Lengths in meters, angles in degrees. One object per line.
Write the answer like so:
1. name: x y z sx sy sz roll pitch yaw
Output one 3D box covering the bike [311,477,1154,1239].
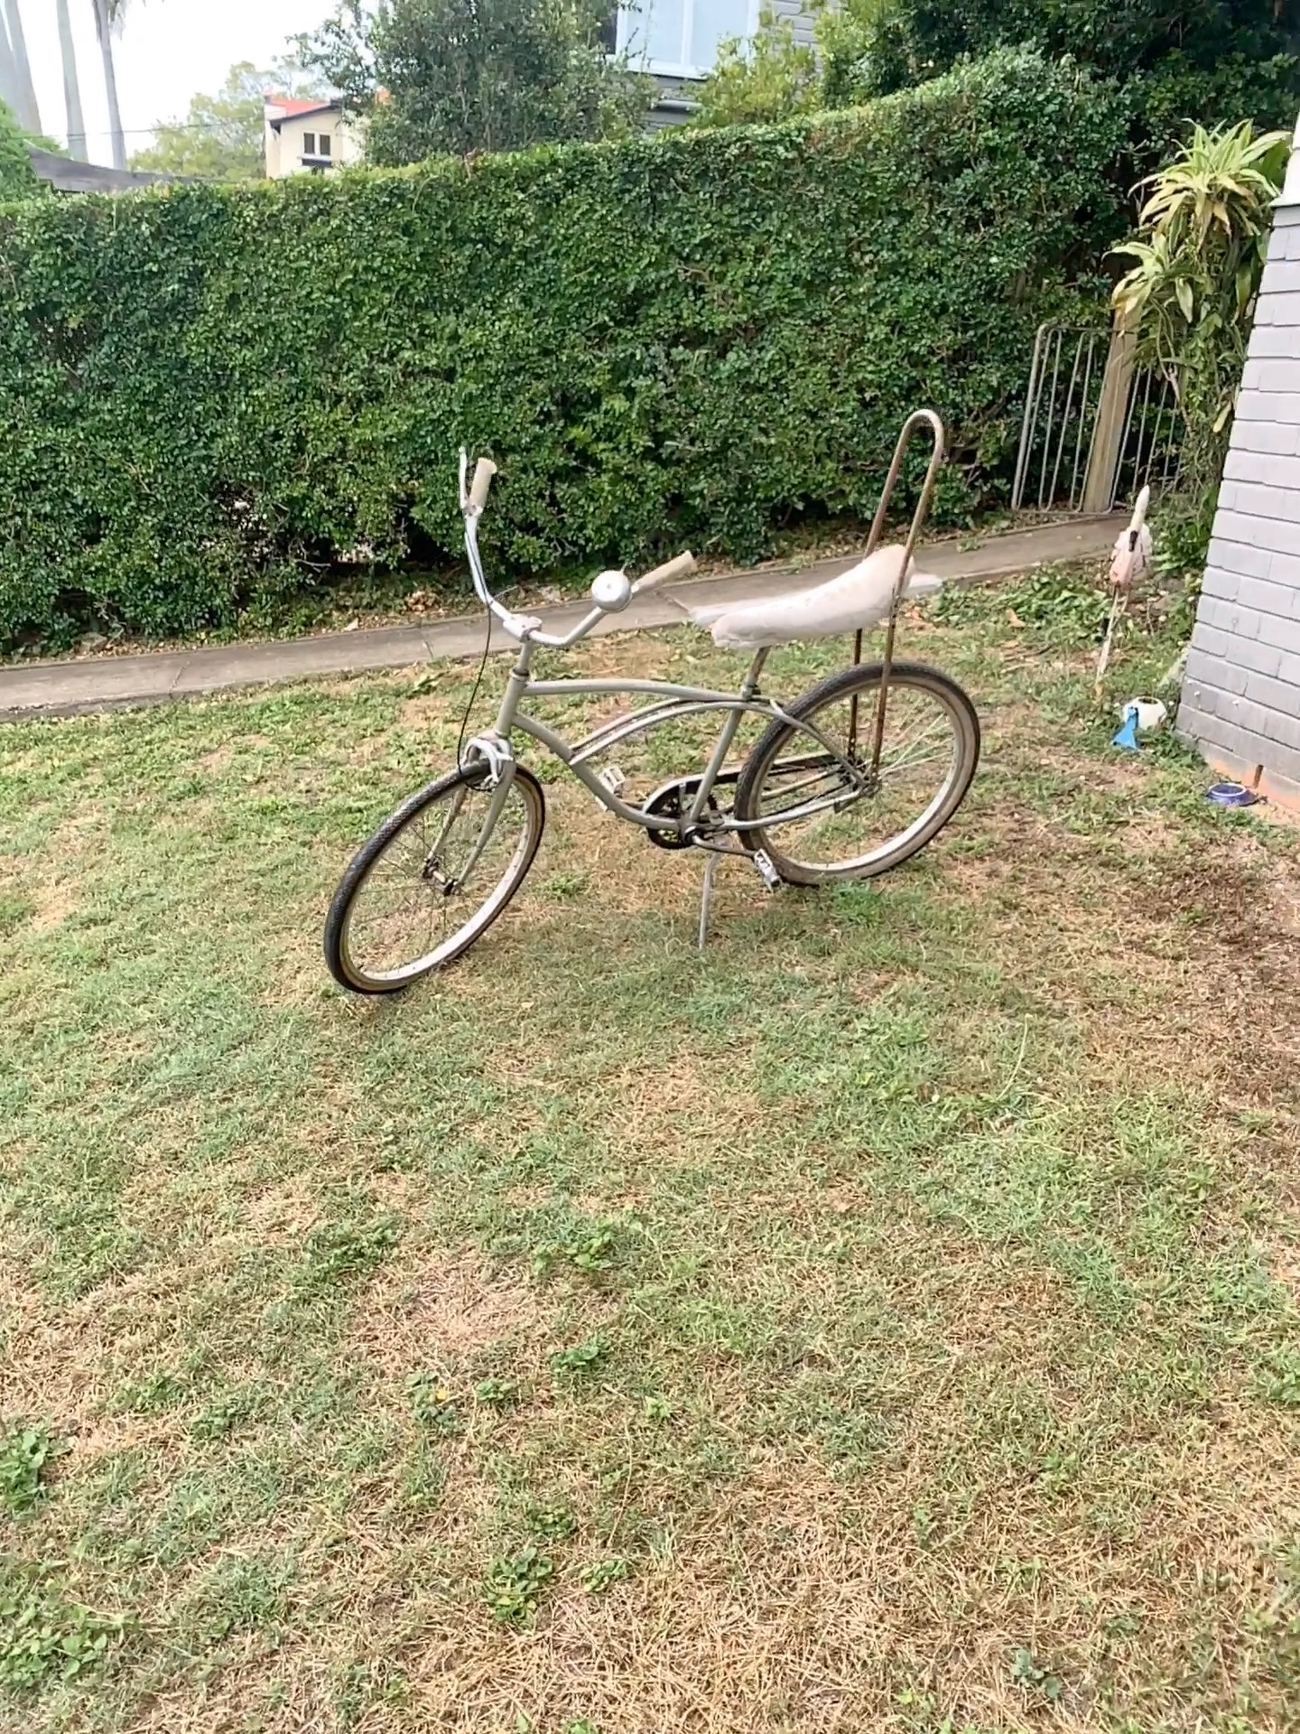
1. bike: 0.113 -0.144 2.946 1.600 0.991 0.803 -15 25 -20
